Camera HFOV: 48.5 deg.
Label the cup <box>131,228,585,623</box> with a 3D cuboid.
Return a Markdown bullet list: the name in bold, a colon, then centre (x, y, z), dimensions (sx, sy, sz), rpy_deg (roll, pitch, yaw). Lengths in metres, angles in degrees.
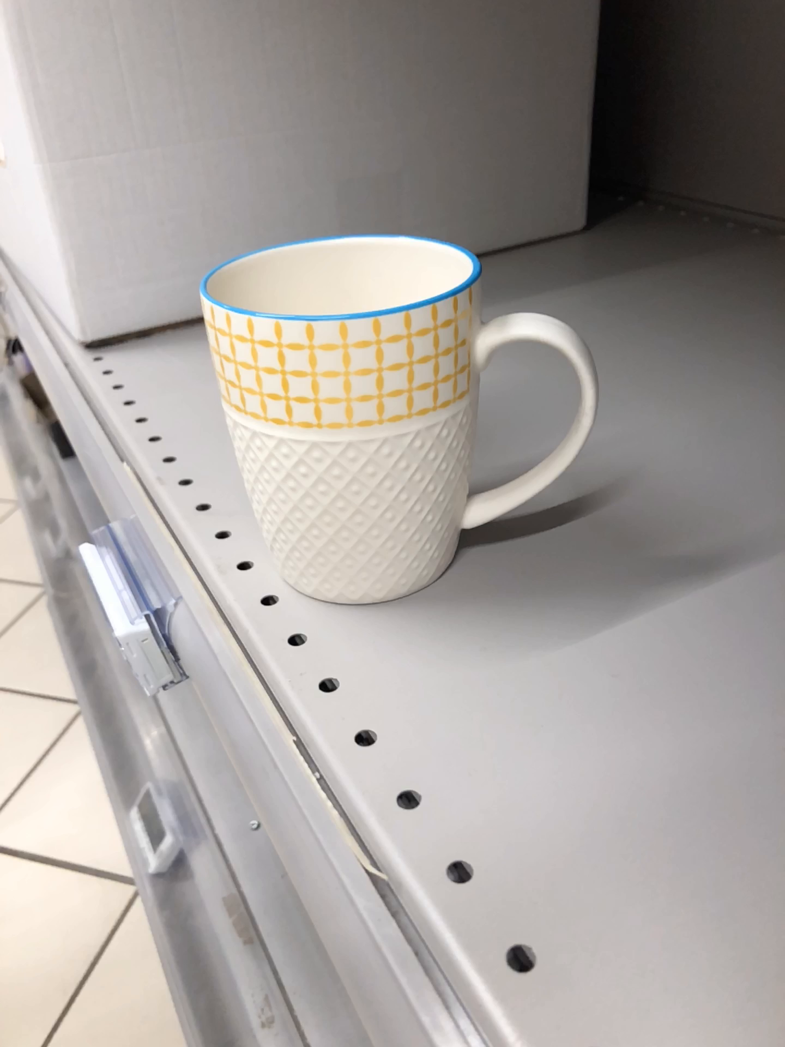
- **cup**: centre (0.001, -0.038, 0.287), dimensions (0.117, 0.092, 0.106), rpy_deg (1, 28, 10)
